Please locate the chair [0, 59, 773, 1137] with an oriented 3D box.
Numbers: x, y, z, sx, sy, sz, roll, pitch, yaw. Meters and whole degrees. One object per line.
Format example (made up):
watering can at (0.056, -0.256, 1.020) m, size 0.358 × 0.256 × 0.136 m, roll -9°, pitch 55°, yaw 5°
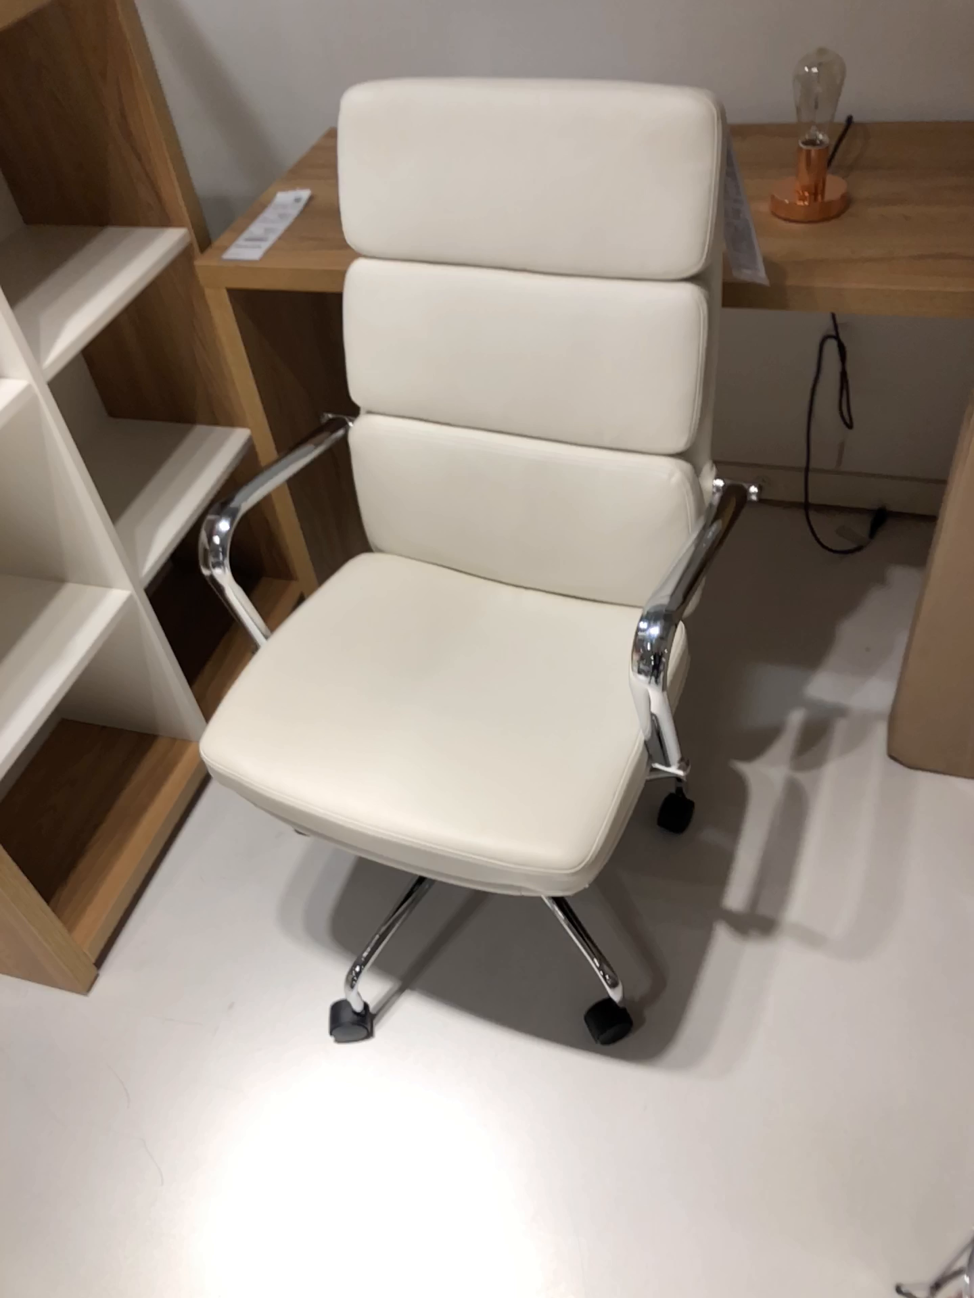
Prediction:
chair at (-0.069, -0.036, 1.310) m, size 0.641 × 1.033 × 0.684 m, roll 10°, pitch 48°, yaw 19°
